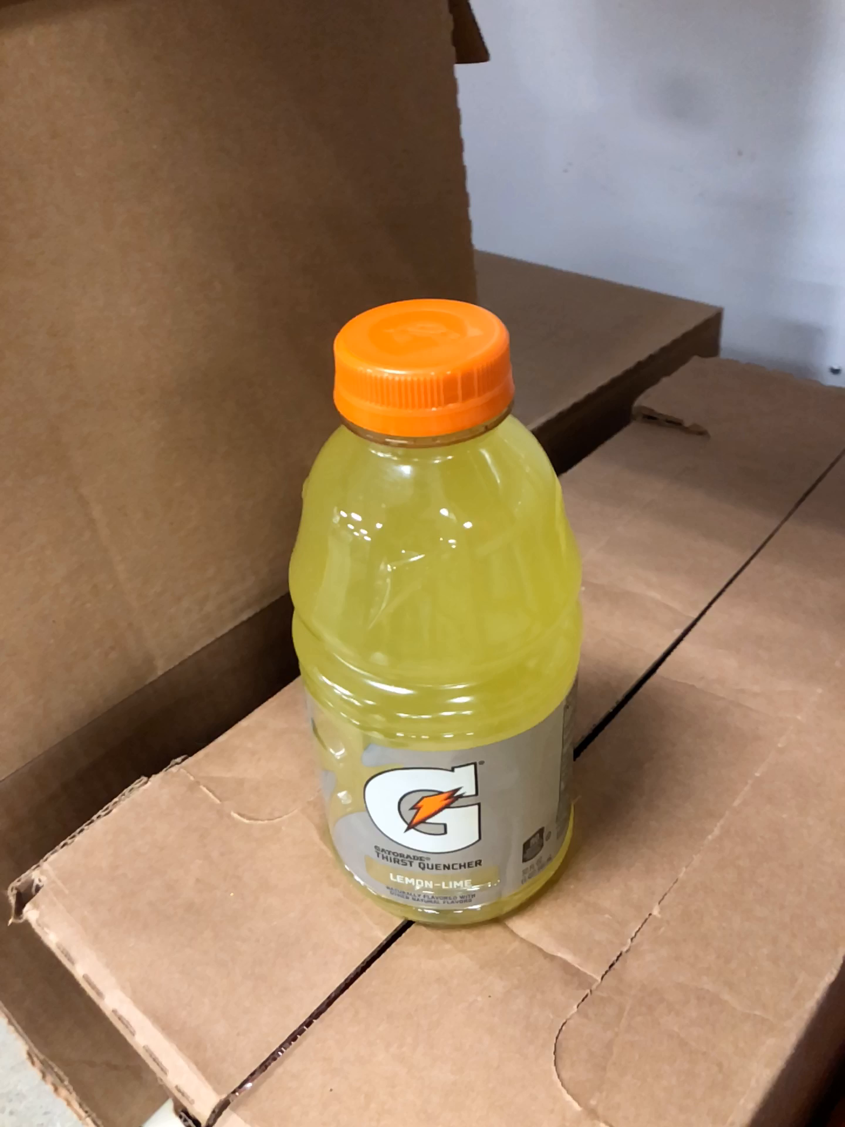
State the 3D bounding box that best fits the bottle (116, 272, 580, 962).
[{"bbox_3d":[-0.003,0.026,0.307,0.100,0.209,0.090,2,38,13],"label":"bottle"}]
